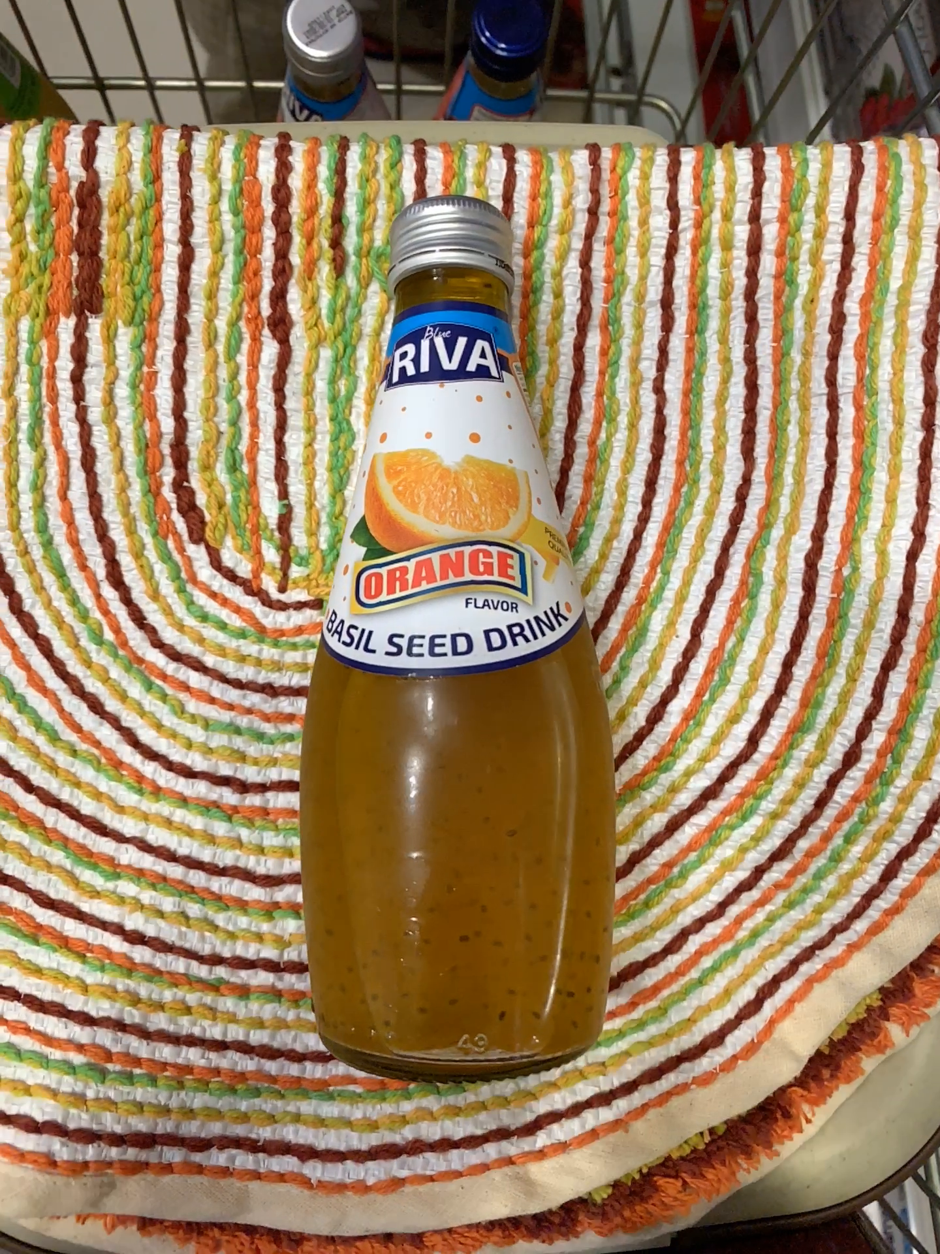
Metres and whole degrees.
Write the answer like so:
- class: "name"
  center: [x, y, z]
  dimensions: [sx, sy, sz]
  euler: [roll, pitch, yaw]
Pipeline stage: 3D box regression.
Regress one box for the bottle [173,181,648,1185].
- class: "bottle"
  center: [-0.009, 0.011, 0.179]
  dimensions: [0.070, 0.050, 0.160]
  euler: [-1, 98, -2]
